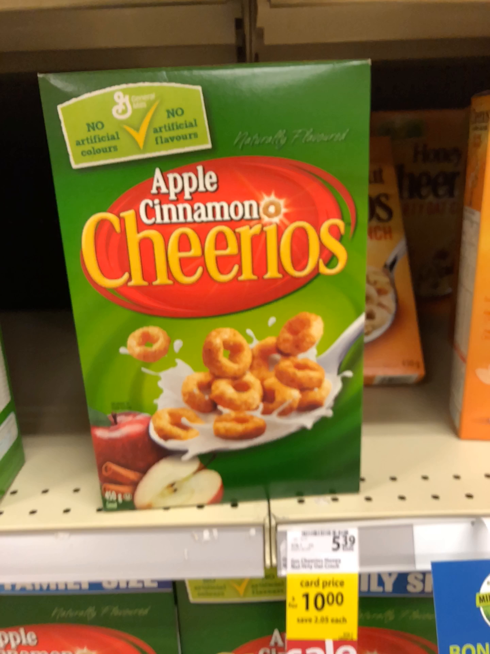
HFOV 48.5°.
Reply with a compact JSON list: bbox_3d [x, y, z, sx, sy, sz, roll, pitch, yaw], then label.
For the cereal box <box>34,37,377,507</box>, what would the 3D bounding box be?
[{"bbox_3d":[-0.017,-0.030,0.398,0.200,0.309,0.070,-4,18,-3],"label":"cereal box"}]
